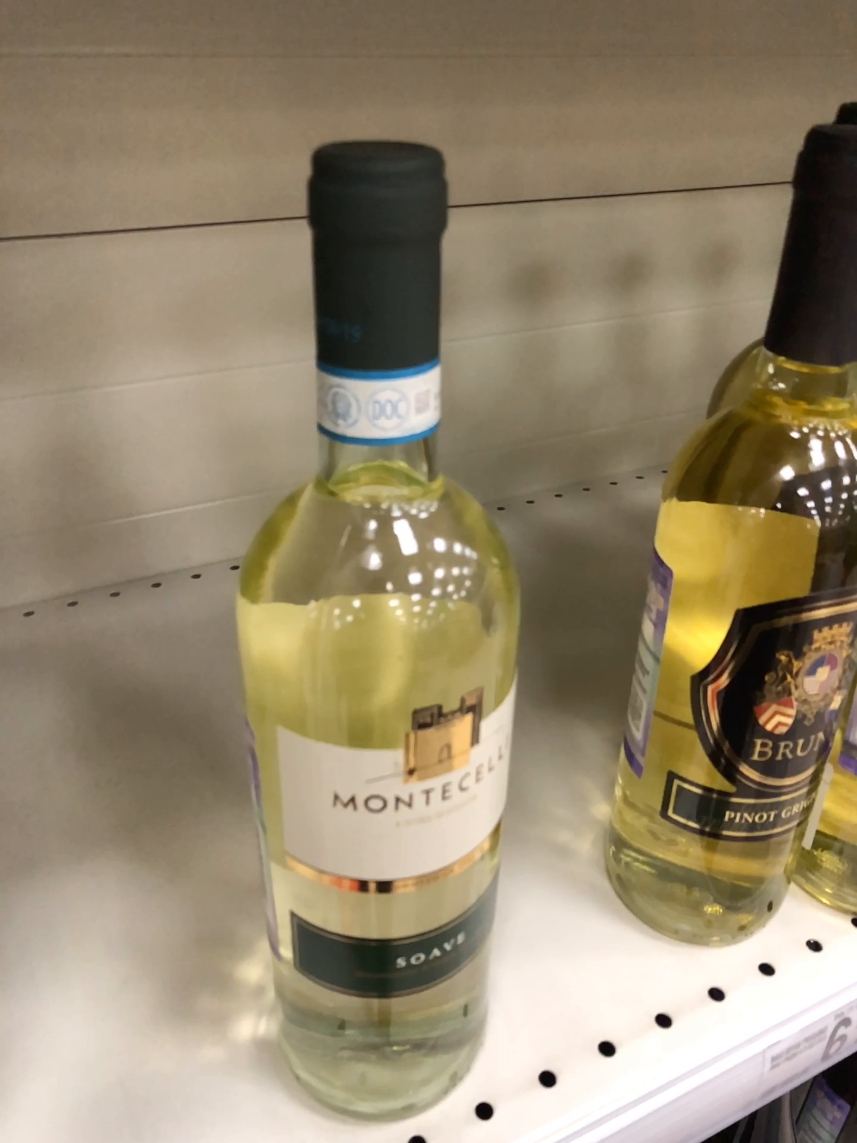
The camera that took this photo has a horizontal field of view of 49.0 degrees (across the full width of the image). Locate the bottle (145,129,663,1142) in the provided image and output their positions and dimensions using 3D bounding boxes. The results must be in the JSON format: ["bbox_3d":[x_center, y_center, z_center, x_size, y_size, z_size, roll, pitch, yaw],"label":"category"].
[{"bbox_3d":[-0.010,0.039,0.260,0.080,0.284,0.070,-15,34,-27],"label":"bottle"}]
